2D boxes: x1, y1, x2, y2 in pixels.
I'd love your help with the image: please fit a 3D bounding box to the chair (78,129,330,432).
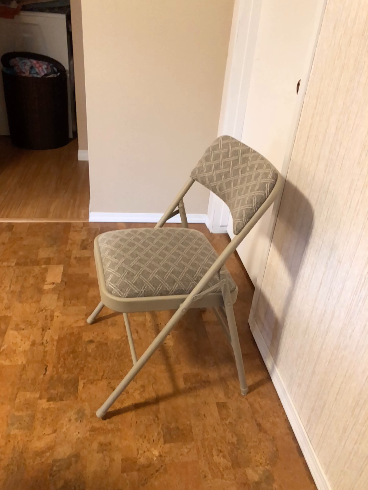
[{"bbox_3d":[-0.018,0.083,1.281,0.560,0.757,0.492,-4,31,-16],"label":"chair"}]
